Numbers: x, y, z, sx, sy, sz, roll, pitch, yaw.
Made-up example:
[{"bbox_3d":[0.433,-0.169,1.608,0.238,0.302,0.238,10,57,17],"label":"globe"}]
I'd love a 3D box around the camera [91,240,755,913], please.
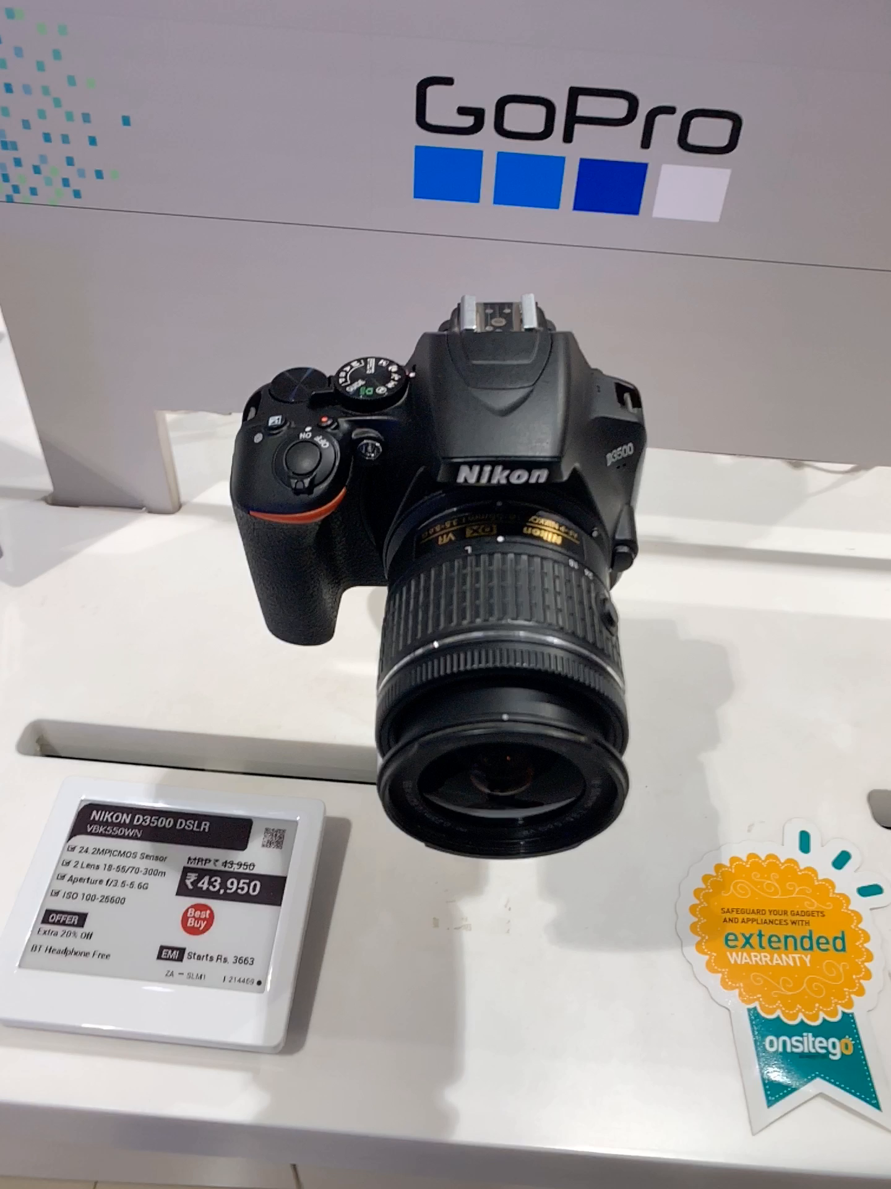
[{"bbox_3d":[-0.007,-0.016,0.261,0.120,0.090,0.181,1,45,-3],"label":"camera"}]
